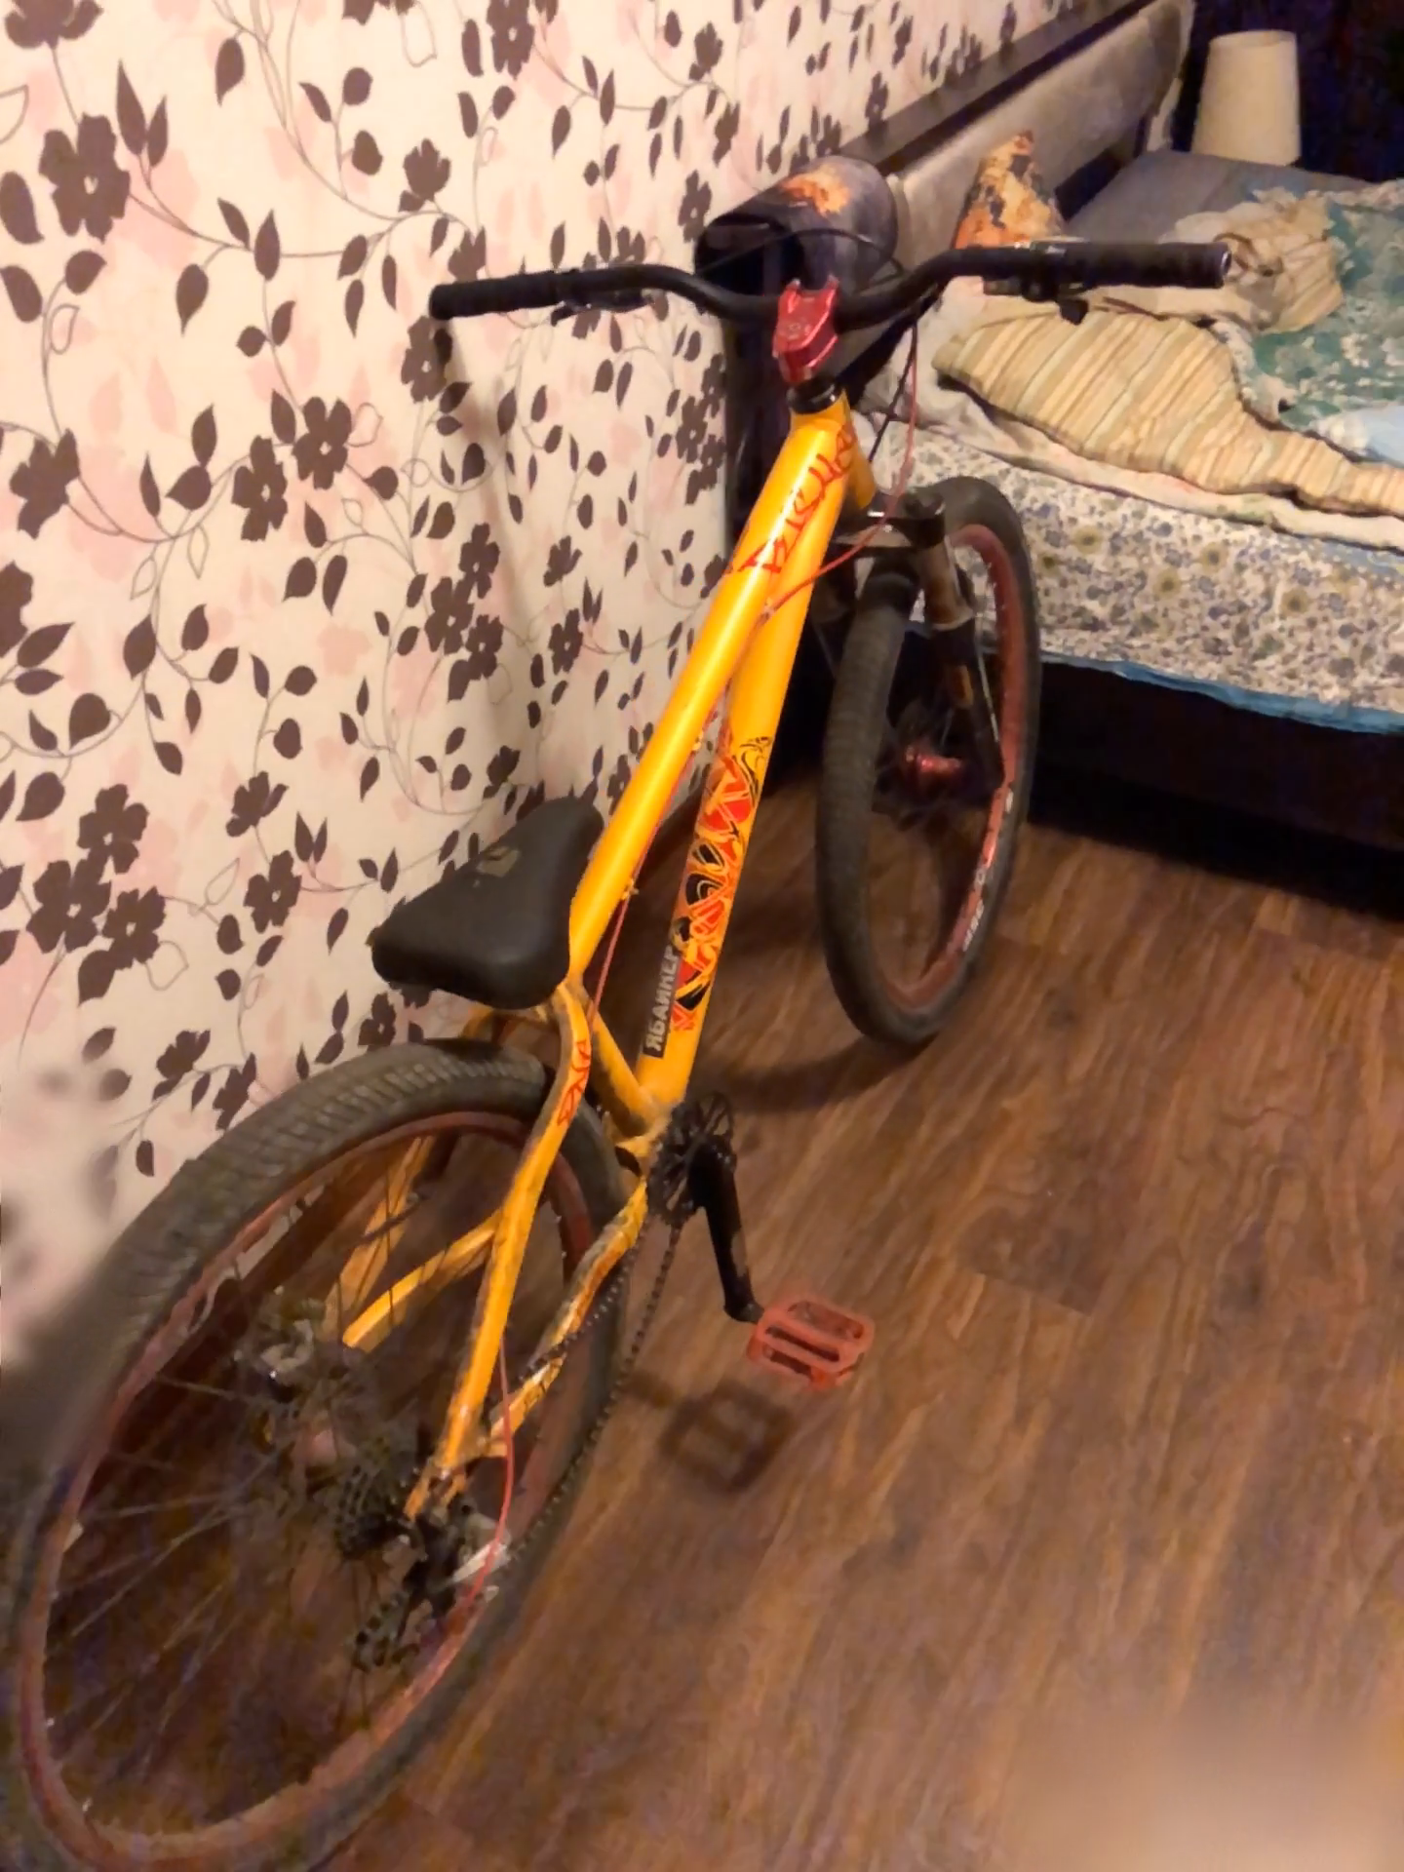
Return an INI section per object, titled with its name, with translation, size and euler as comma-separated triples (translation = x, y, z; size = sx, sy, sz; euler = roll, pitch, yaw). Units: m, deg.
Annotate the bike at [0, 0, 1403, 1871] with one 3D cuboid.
[bike]
translation = 0.008, -0.057, 1.337
size = 0.662, 1.005, 1.681
euler = 20, 48, 23
